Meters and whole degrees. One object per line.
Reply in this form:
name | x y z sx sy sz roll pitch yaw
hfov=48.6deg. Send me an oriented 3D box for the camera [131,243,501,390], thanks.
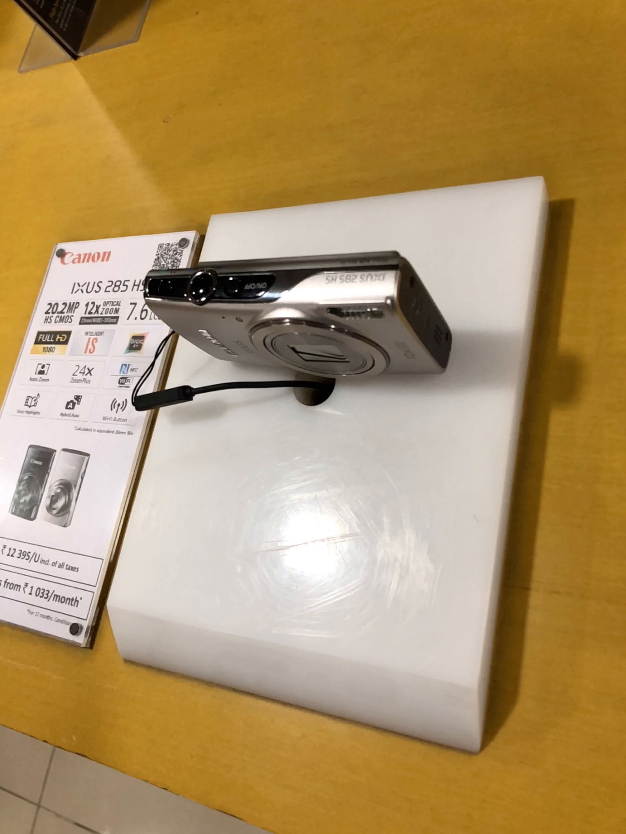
camera | 0.001 -0.031 0.237 0.110 0.060 0.020 4 73 29
